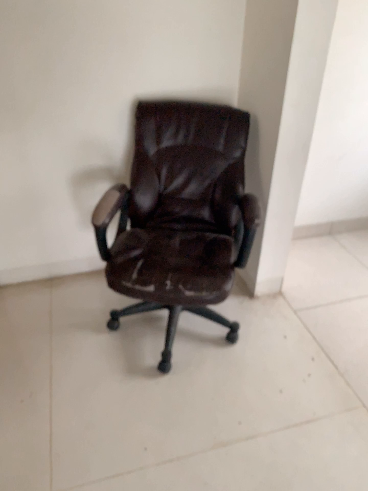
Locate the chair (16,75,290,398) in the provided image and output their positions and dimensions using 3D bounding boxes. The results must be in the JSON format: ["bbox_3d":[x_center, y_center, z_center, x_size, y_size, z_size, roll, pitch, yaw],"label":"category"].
[{"bbox_3d":[-0.048,-0.076,1.566,0.700,0.995,0.794,5,34,6],"label":"chair"}]
